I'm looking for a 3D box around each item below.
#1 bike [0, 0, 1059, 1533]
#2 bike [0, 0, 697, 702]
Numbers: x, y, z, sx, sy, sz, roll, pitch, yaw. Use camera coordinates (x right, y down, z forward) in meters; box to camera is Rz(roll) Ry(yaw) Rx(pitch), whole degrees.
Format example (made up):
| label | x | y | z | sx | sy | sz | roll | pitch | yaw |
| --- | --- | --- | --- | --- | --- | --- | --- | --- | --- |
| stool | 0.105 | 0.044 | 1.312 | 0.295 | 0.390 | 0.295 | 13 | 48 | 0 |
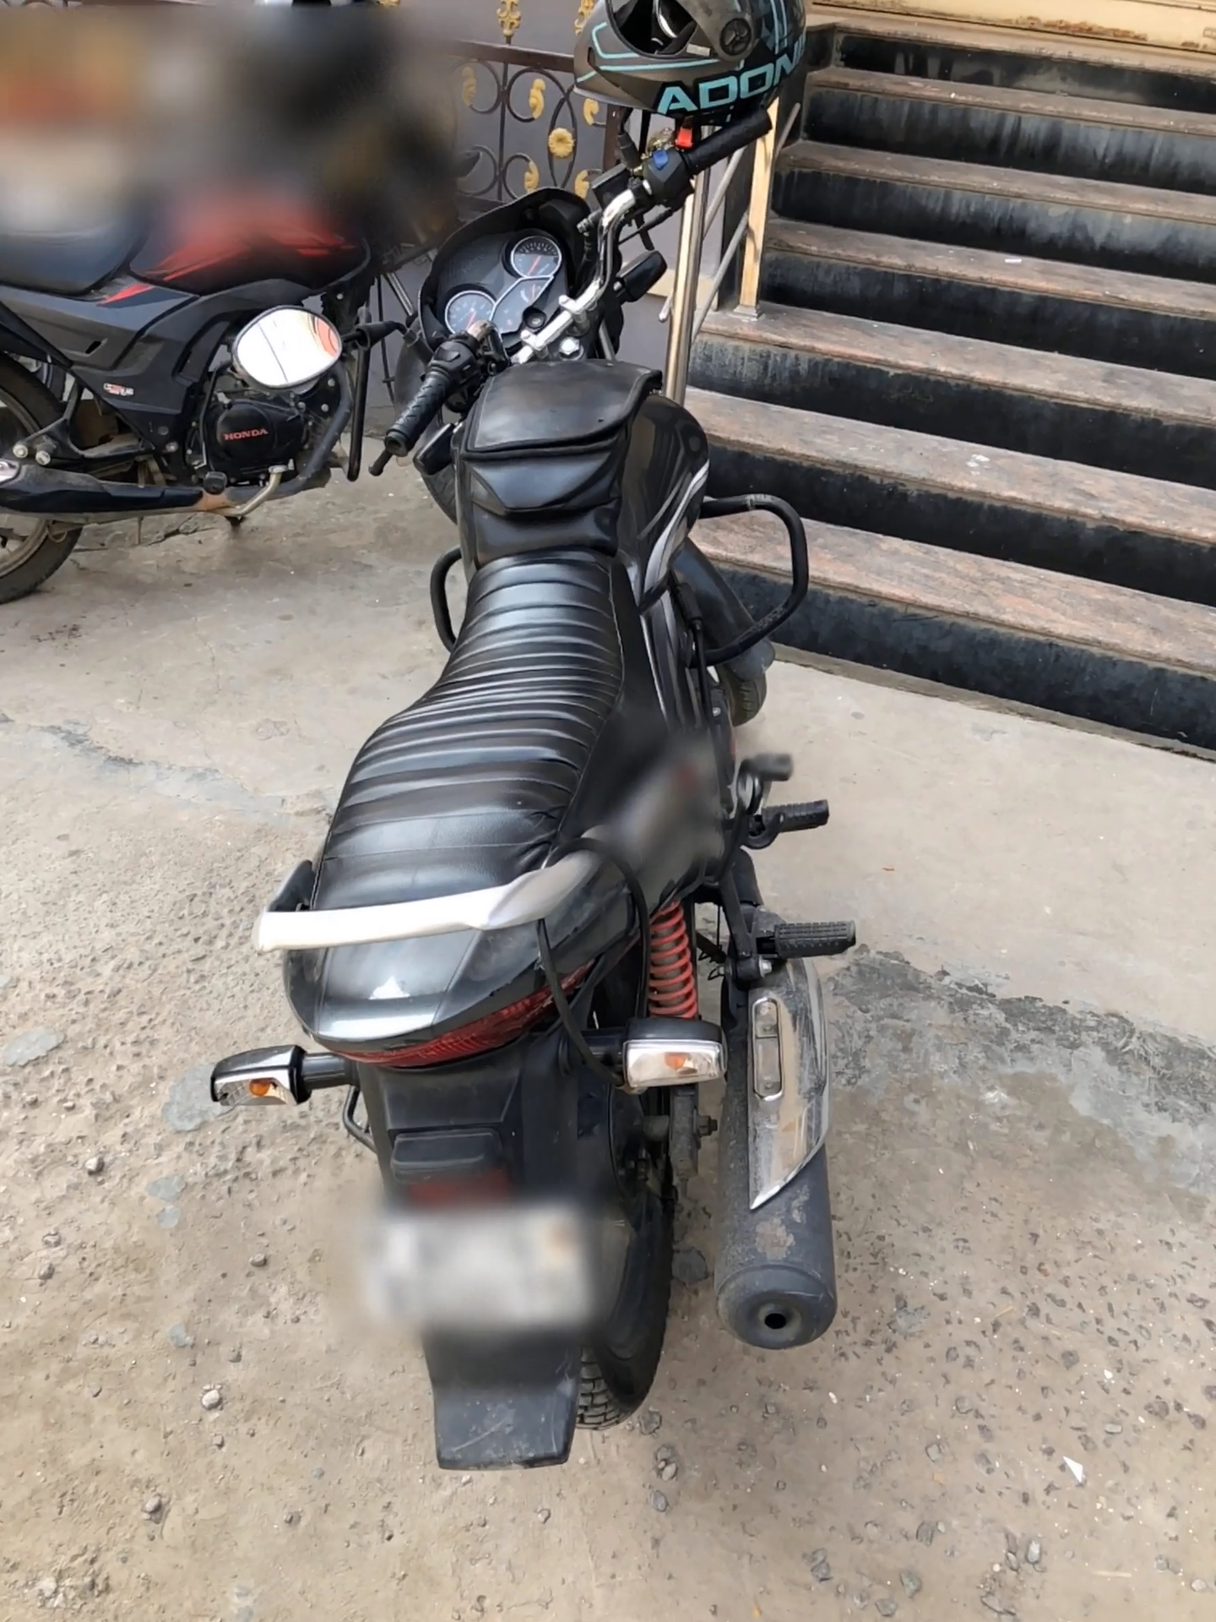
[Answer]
| label | x | y | z | sx | sy | sz | roll | pitch | yaw |
| --- | --- | --- | --- | --- | --- | --- | --- | --- | --- |
| bike | -0.223 | -0.333 | 1.722 | 0.746 | 1.155 | 1.746 | 3 | 37 | -5 |
| bike | -0.742 | -0.976 | 2.704 | 1.602 | 1.056 | 0.686 | -15 | 39 | -30 |
